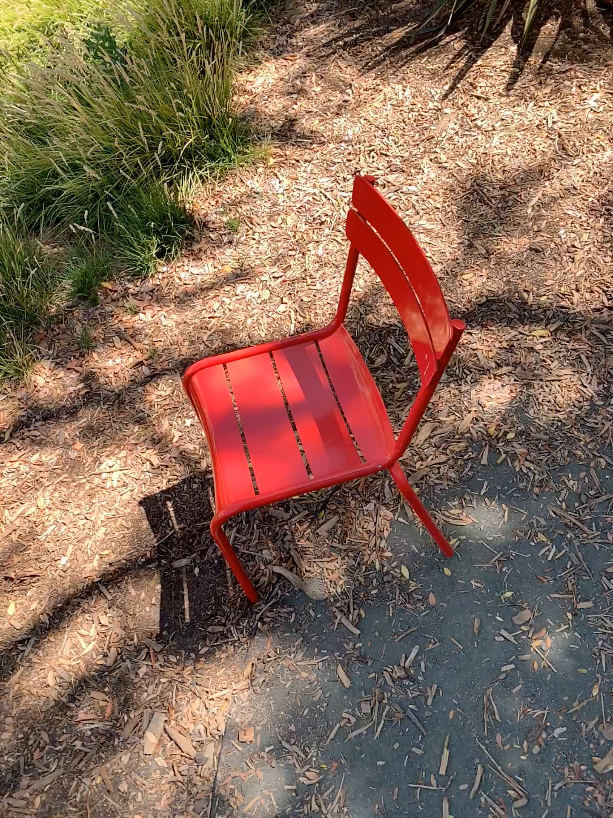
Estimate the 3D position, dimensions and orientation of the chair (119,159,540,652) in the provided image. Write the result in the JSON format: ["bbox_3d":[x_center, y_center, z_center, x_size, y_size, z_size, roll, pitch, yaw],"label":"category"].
[{"bbox_3d":[0.006,0.020,1.380,0.570,0.786,0.613,-14,51,-8],"label":"chair"}]
